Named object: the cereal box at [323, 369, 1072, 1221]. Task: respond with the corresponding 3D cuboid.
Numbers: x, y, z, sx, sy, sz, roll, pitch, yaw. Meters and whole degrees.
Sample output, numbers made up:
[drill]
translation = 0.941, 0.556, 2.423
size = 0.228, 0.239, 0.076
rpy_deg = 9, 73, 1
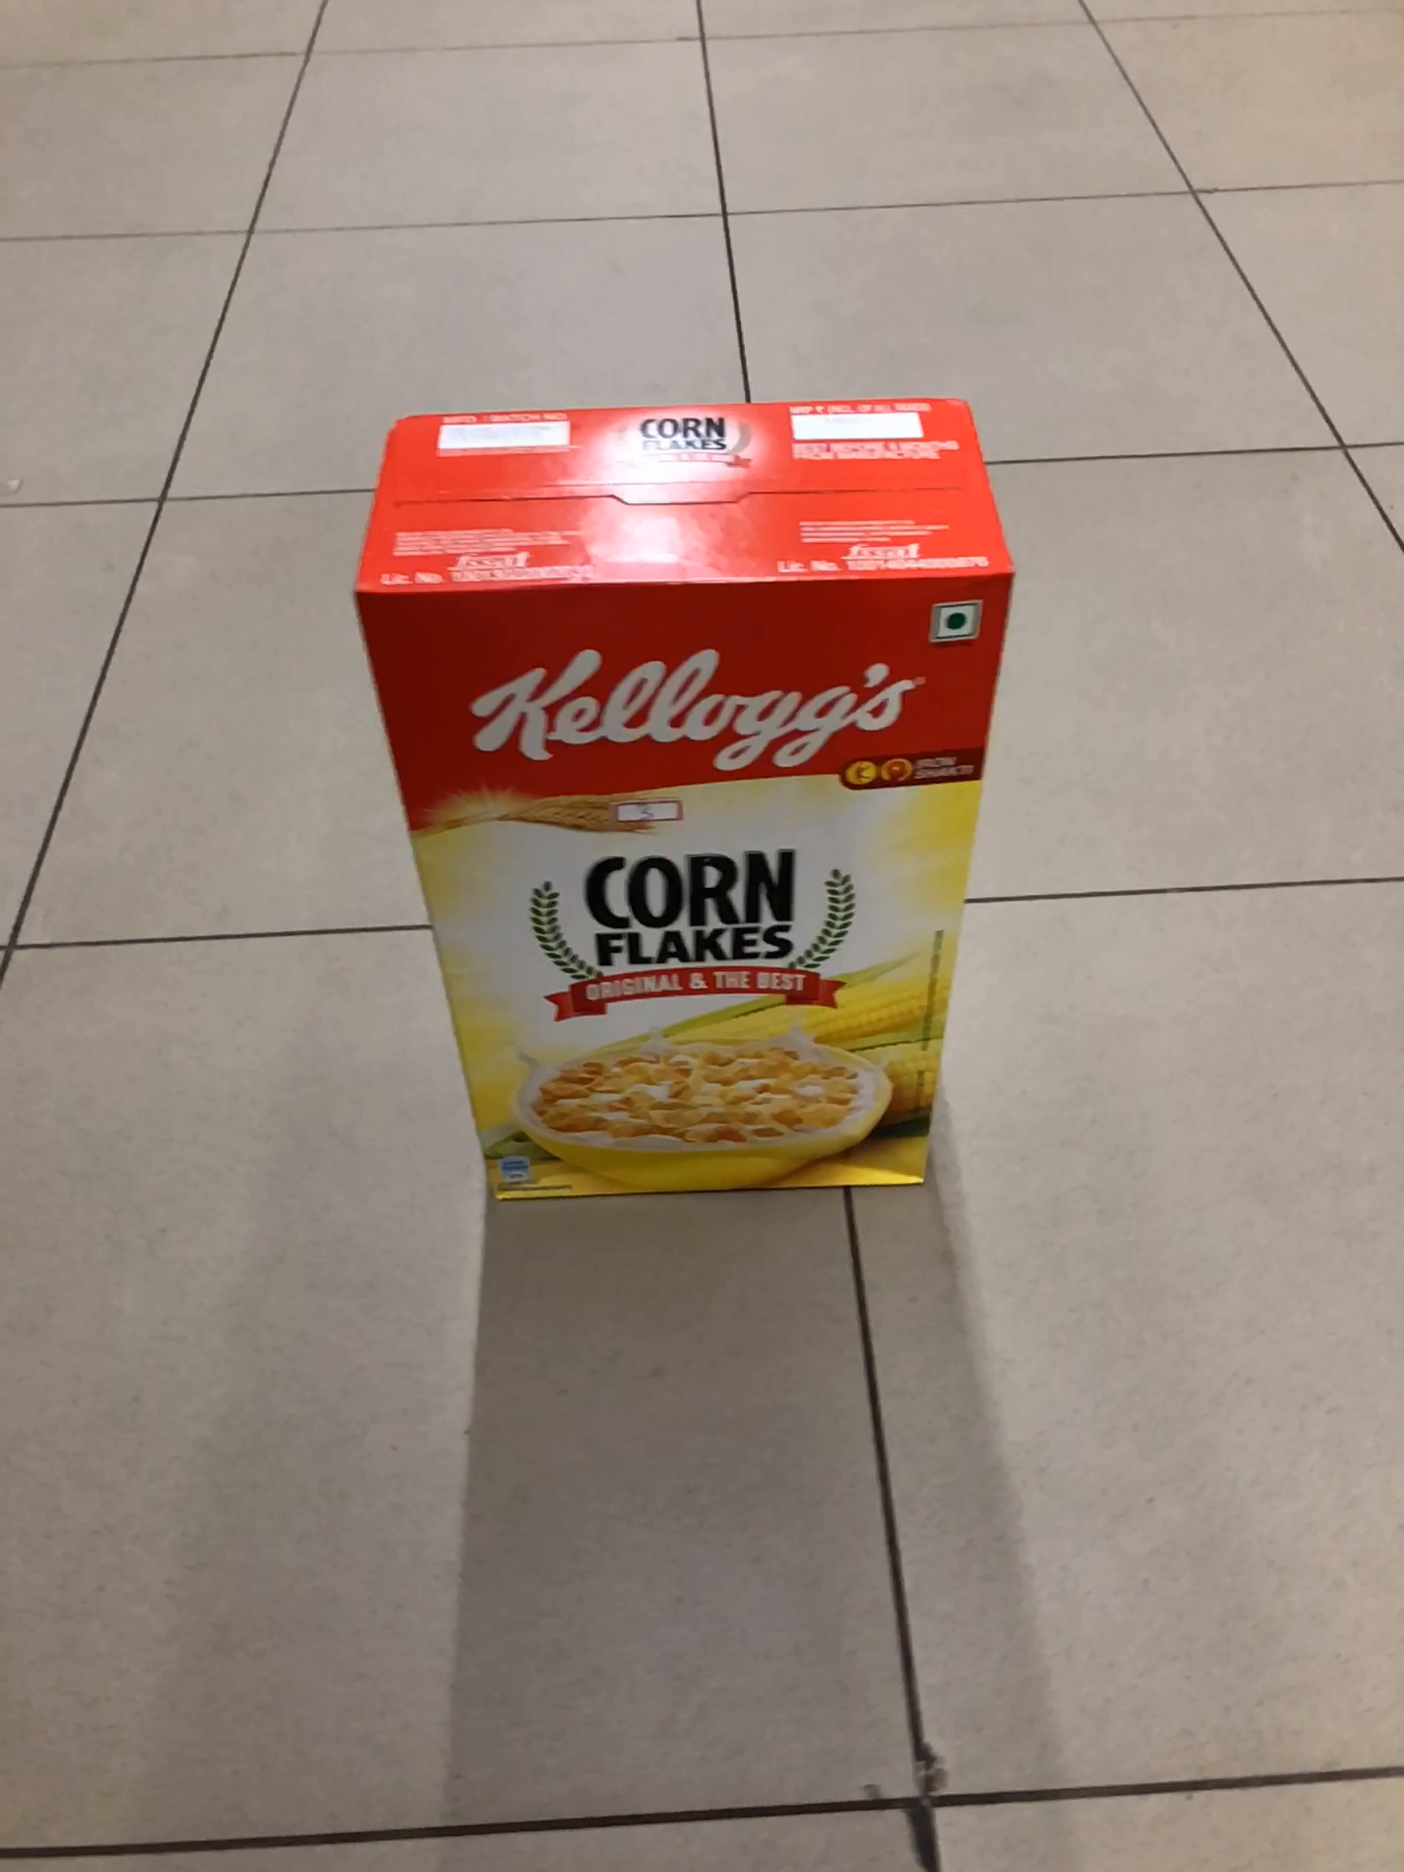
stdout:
[cereal box]
translation = 0.002, -0.028, 0.564
size = 0.200, 0.318, 0.101
rpy_deg = -3, 48, 0
